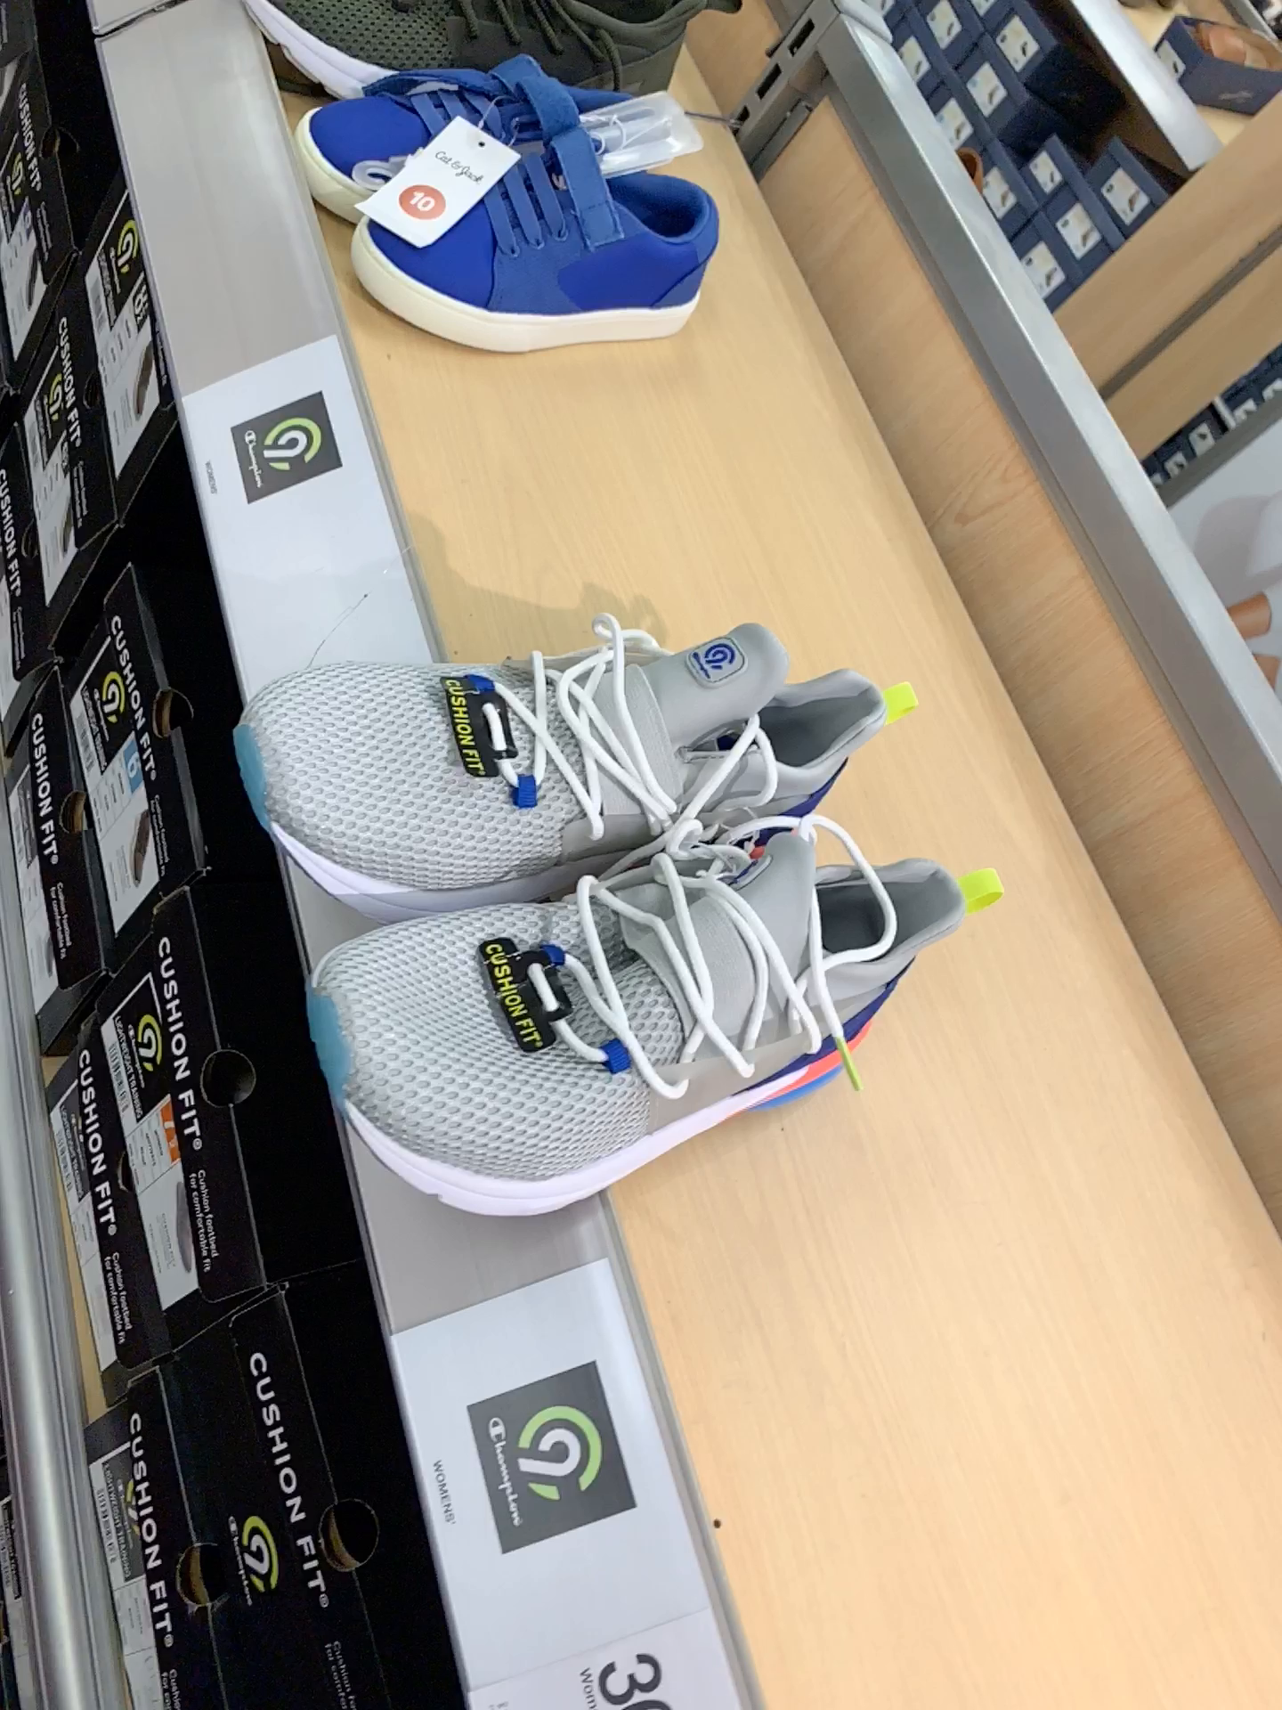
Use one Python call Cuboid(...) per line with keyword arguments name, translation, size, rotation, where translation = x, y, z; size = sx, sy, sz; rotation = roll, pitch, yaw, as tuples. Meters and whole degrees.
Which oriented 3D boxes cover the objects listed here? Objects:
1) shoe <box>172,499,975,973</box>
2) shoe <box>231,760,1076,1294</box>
Cuboid(name="shoe", translation=(-0.013, -0.032, 0.482), size=(0.271, 0.090, 0.110), rotation=(1, 60, -41))
Cuboid(name="shoe", translation=(0.020, 0.042, 0.449), size=(0.271, 0.090, 0.110), rotation=(-6, 65, -44))
